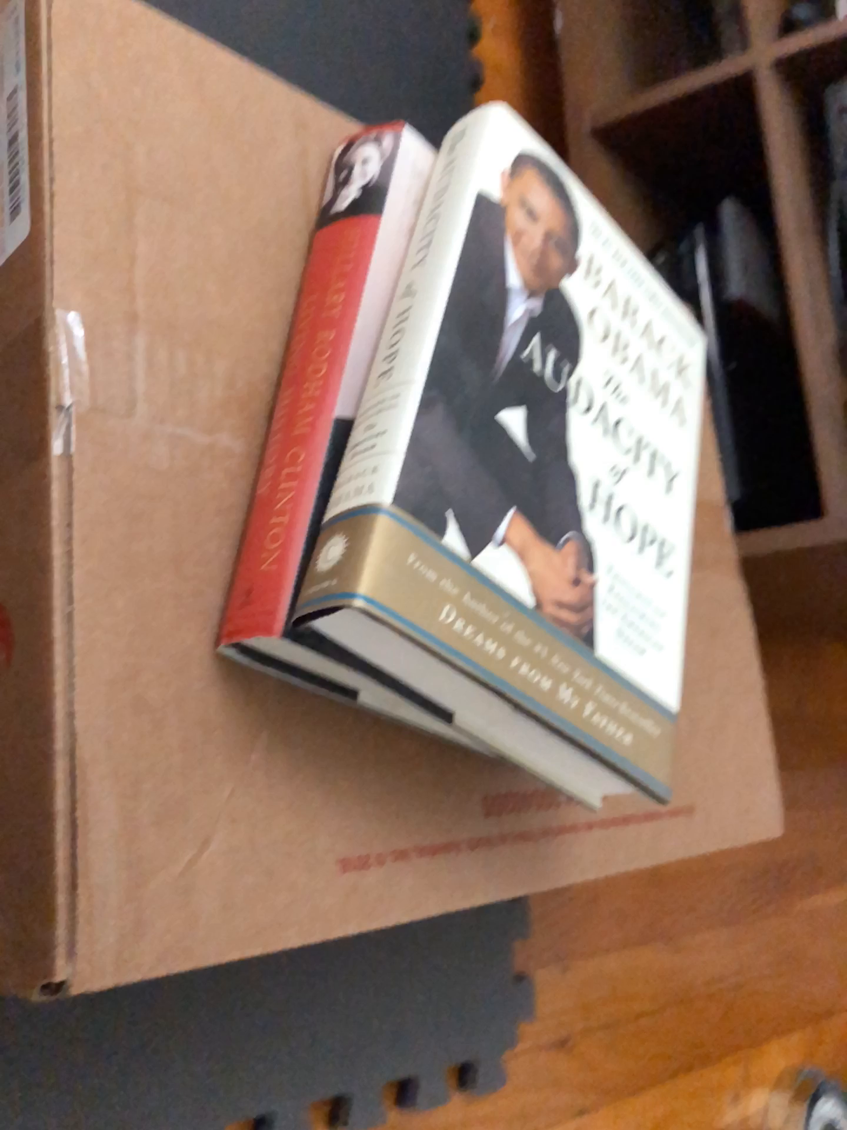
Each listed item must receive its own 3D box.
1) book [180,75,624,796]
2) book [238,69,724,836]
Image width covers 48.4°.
[{"bbox_3d":[0.013,-0.051,0.394,0.171,0.040,0.251,29,57,-36],"label":"book"},{"bbox_3d":[0.050,-0.045,0.385,0.191,0.040,0.251,36,53,-33],"label":"book"}]
